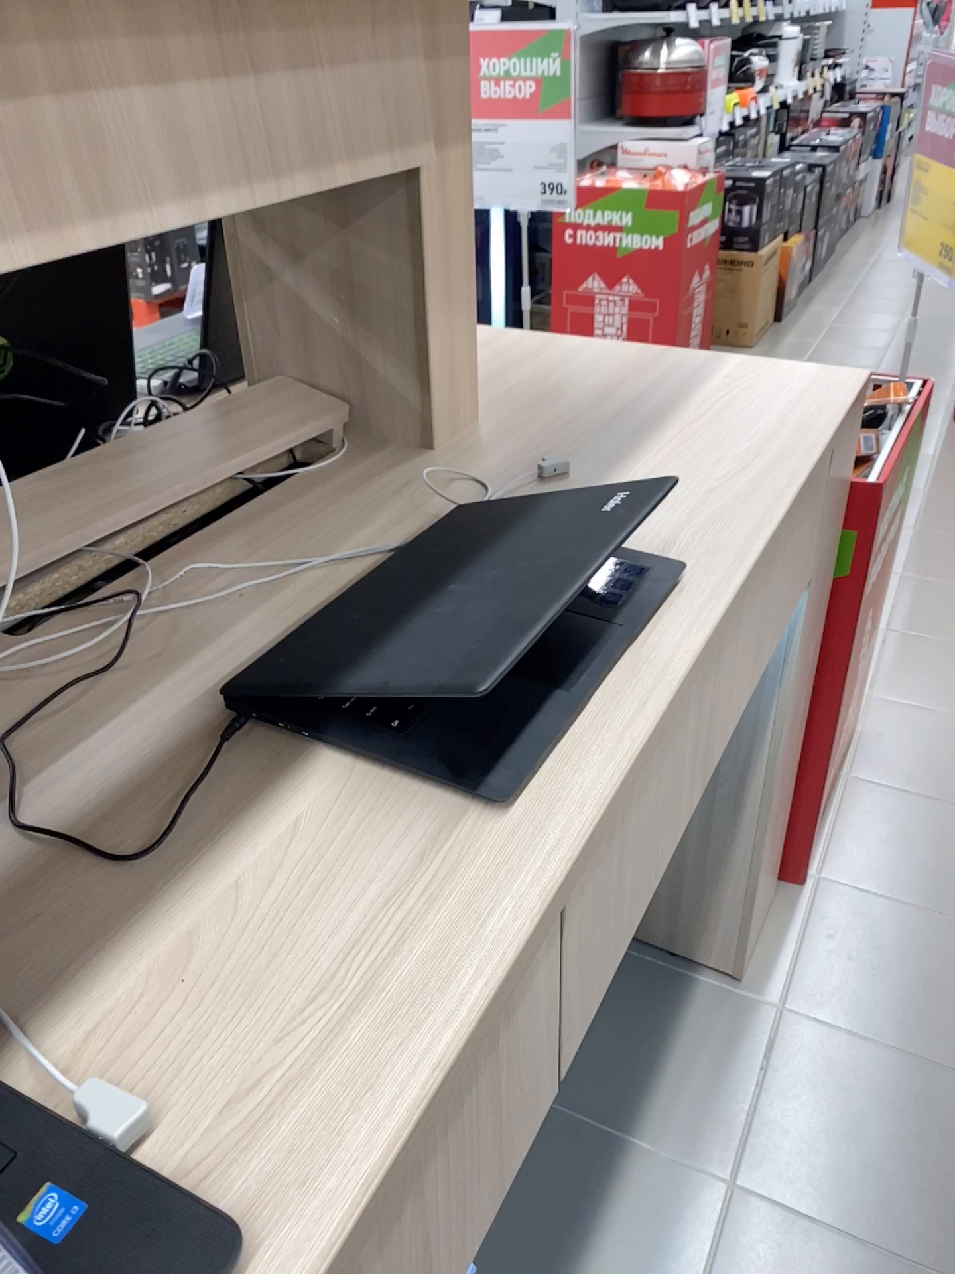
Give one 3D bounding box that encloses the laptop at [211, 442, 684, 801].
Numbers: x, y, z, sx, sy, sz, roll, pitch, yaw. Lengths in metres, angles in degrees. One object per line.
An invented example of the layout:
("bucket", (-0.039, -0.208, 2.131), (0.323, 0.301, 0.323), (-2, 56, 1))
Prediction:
("laptop", (-0.002, -0.038, 0.702), (0.201, 0.072, 0.320), (16, 35, 24))
